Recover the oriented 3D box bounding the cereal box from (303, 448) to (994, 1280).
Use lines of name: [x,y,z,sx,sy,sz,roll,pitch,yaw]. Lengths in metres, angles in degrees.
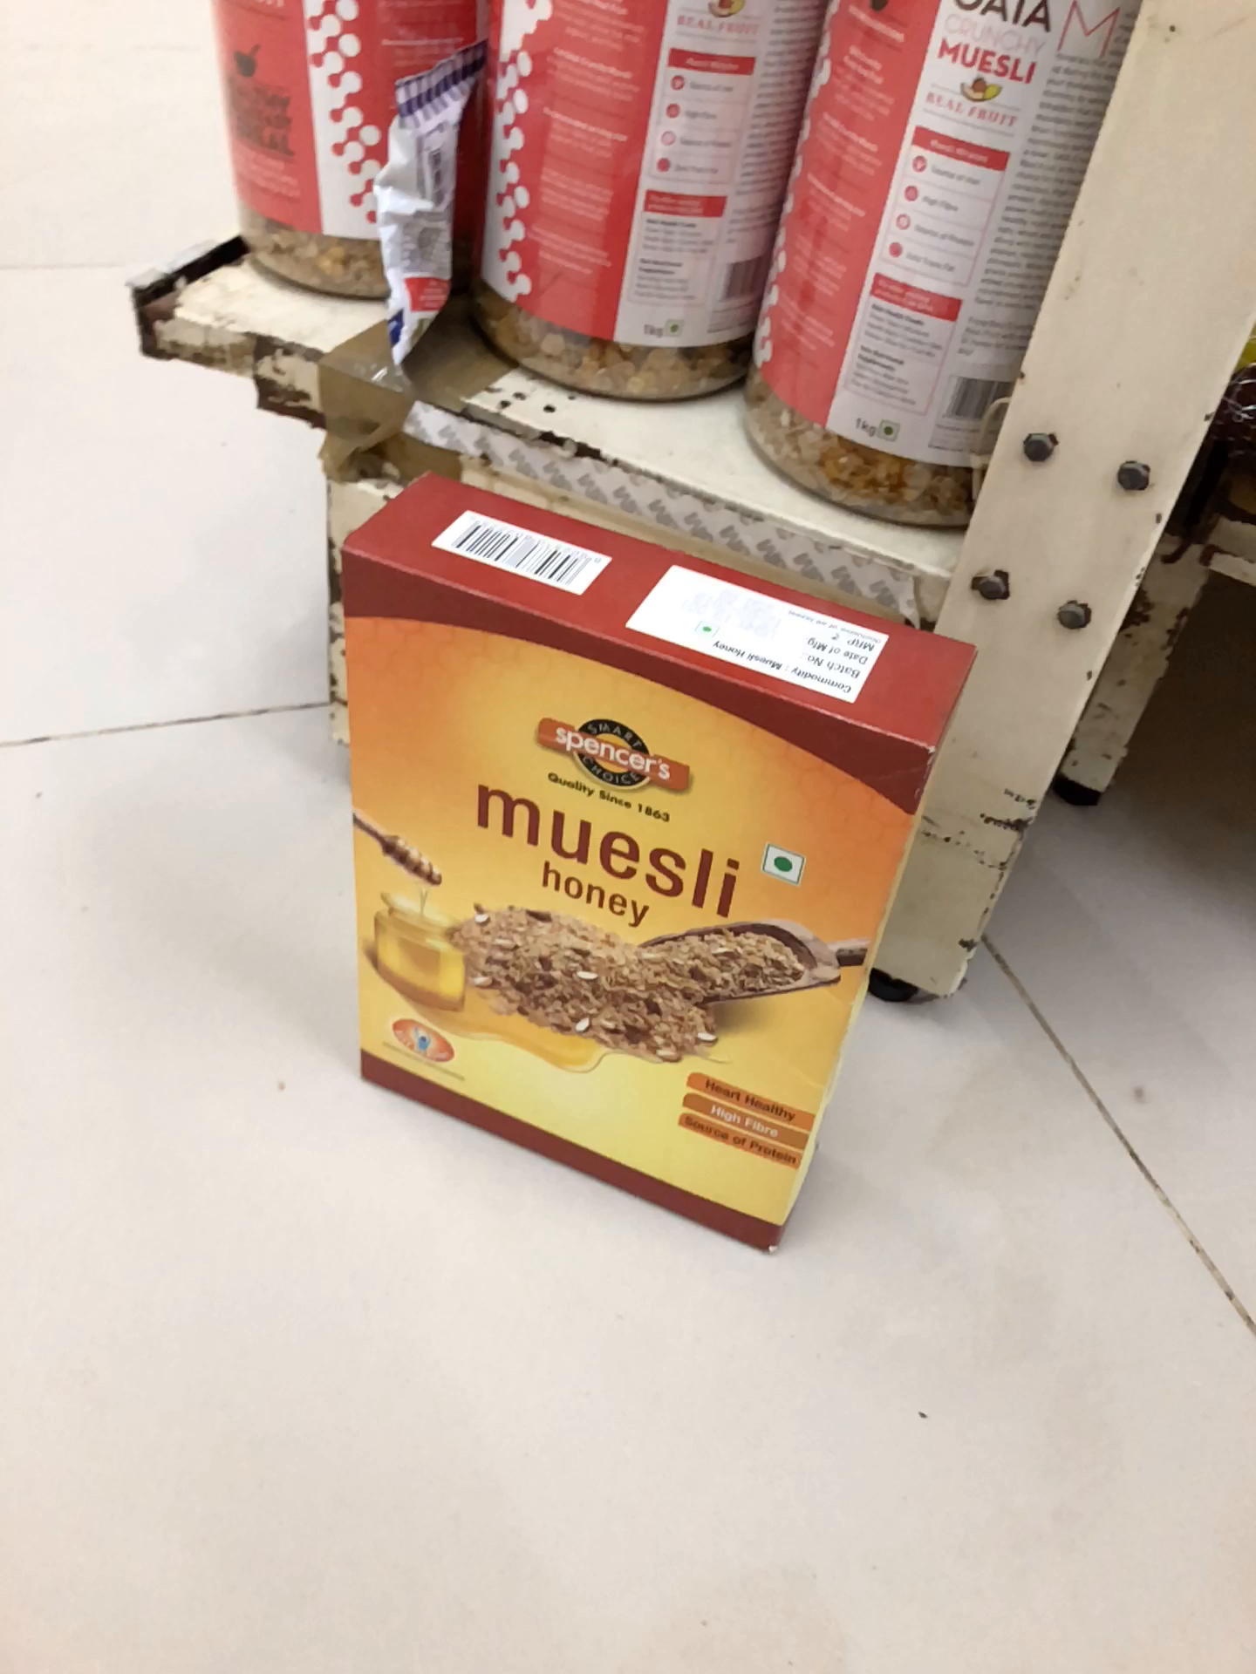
cereal box: [-0.006,0.022,0.483,0.190,0.258,0.060,21,44,15]
